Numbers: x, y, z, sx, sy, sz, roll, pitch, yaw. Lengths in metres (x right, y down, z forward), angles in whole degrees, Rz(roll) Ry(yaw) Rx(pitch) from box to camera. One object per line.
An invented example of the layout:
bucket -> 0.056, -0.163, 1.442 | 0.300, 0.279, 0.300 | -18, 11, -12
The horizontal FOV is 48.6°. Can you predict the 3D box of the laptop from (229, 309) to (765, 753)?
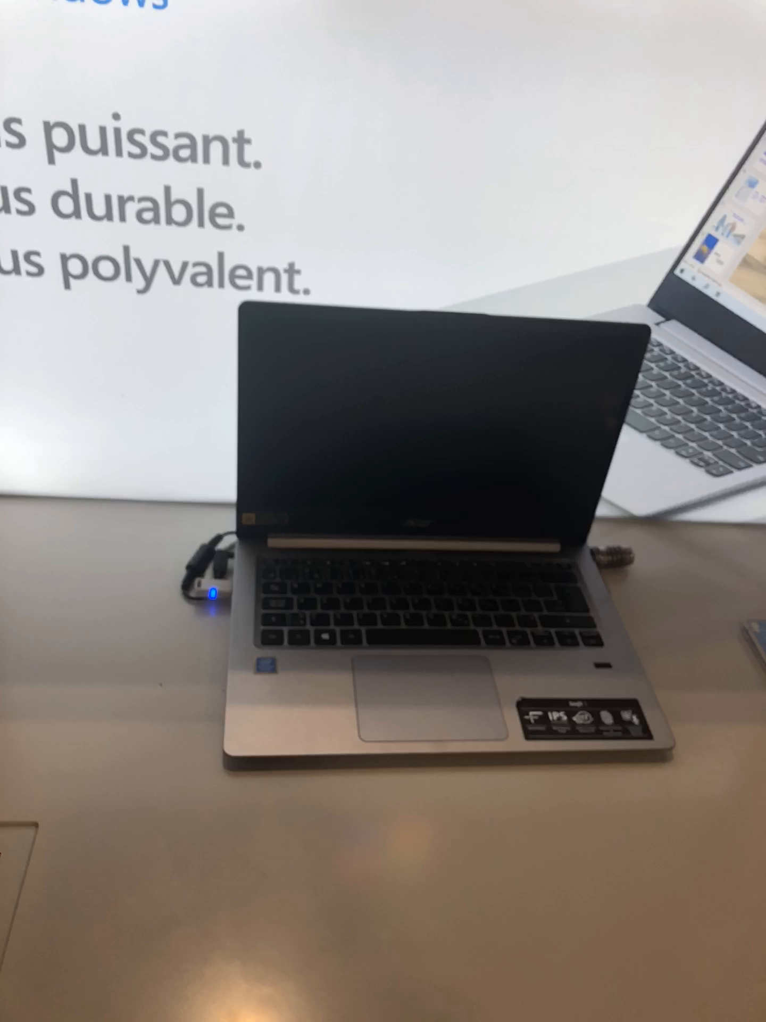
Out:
laptop -> 0.054, 0.010, 0.606 | 0.311, 0.210, 0.227 | 2, 36, -8
